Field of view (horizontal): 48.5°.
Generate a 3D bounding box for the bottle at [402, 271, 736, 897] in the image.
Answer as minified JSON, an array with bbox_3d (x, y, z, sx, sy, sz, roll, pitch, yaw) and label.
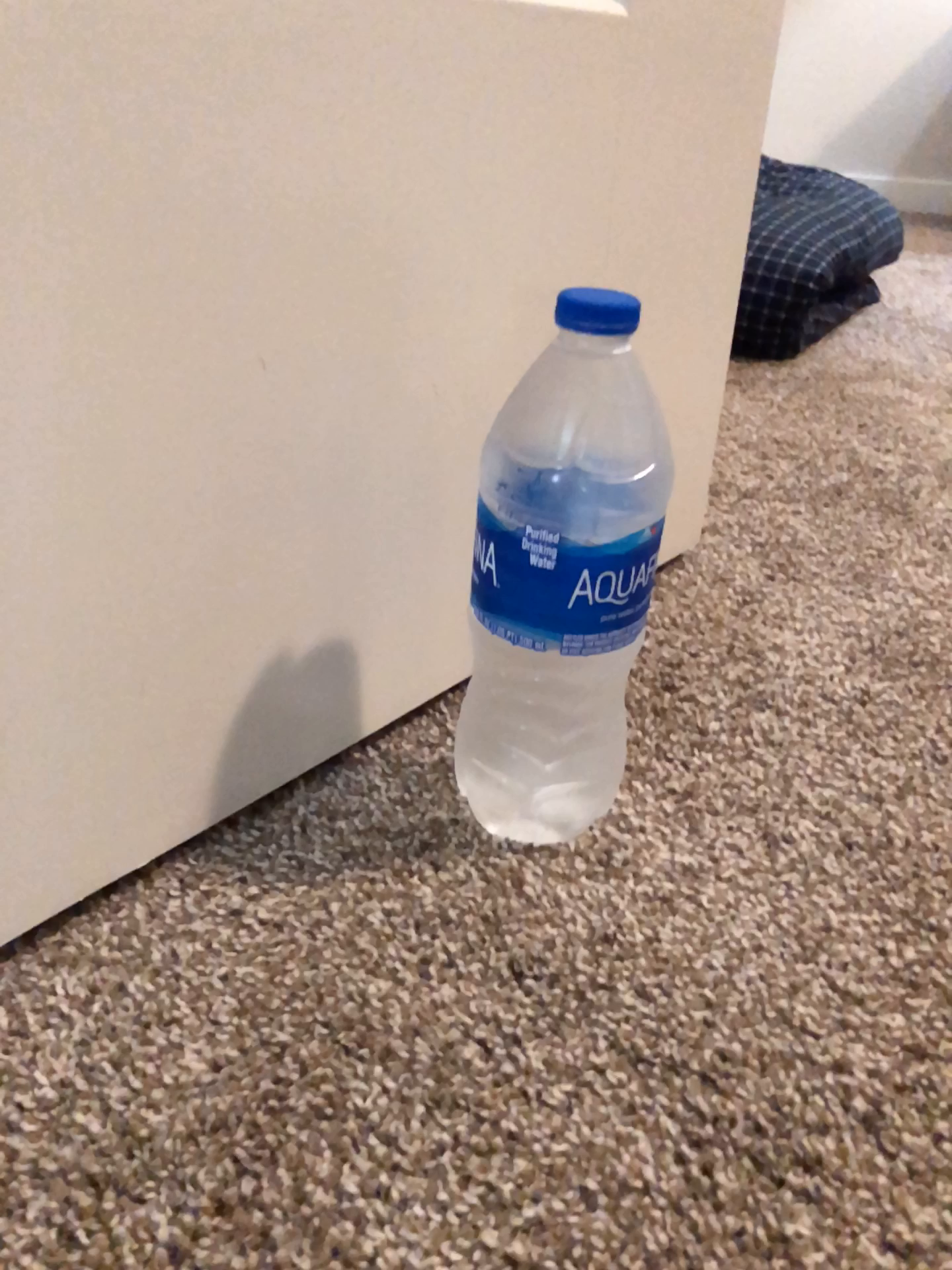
[{"bbox_3d":[0.026,-0.017,0.362,0.070,0.189,0.070,2,27,-1],"label":"bottle"}]
